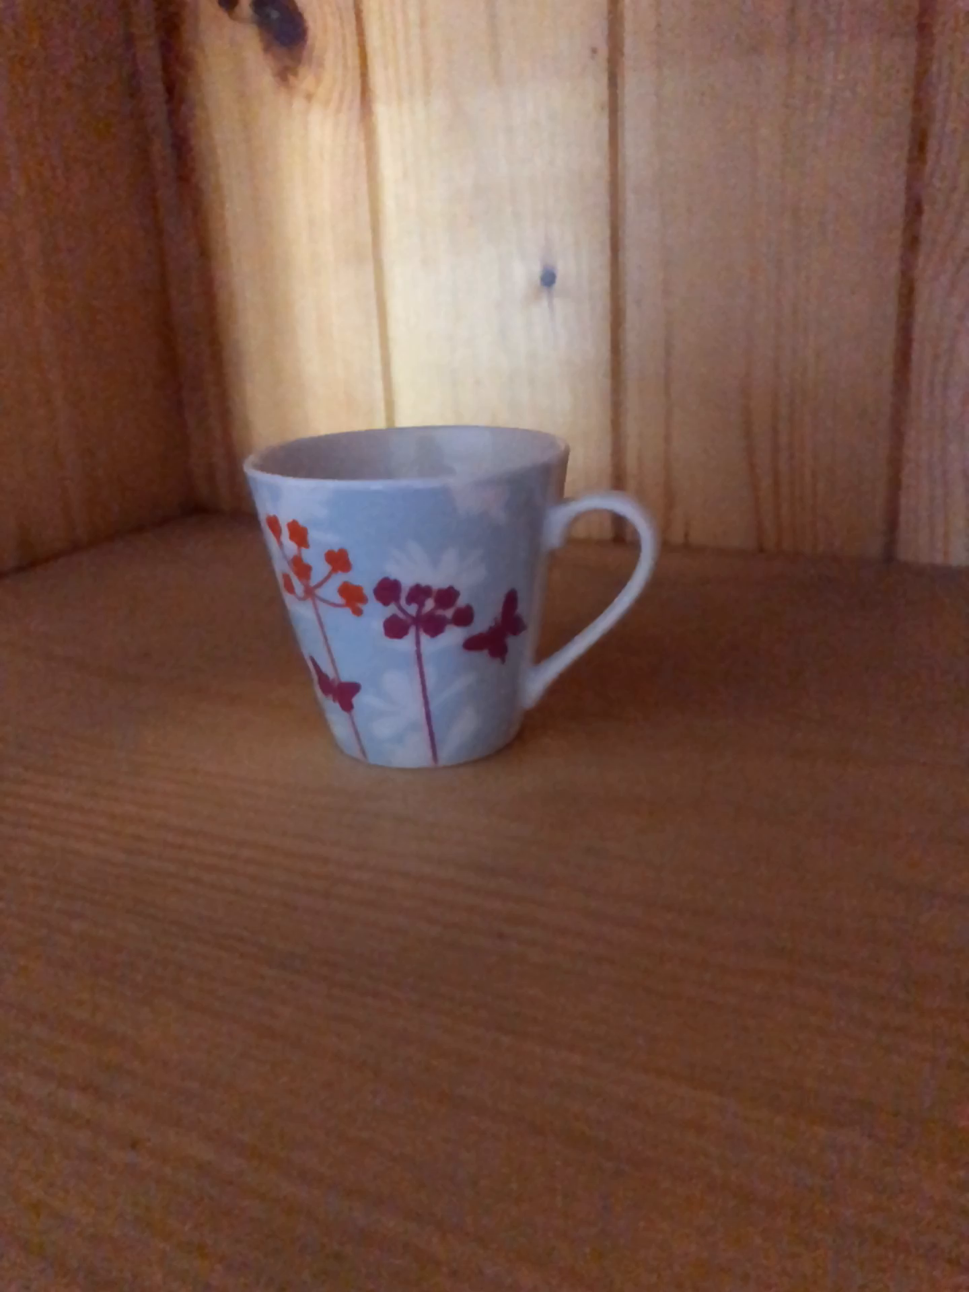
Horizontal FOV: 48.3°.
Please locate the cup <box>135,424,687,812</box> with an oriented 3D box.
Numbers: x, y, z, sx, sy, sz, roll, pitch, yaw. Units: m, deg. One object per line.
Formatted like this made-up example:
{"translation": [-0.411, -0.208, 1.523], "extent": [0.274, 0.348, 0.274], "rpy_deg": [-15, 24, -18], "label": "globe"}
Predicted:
{"translation": [-0.008, -0.012, 0.205], "extent": [0.080, 0.050, 0.070], "rpy_deg": [4, 20, 19], "label": "cup"}
